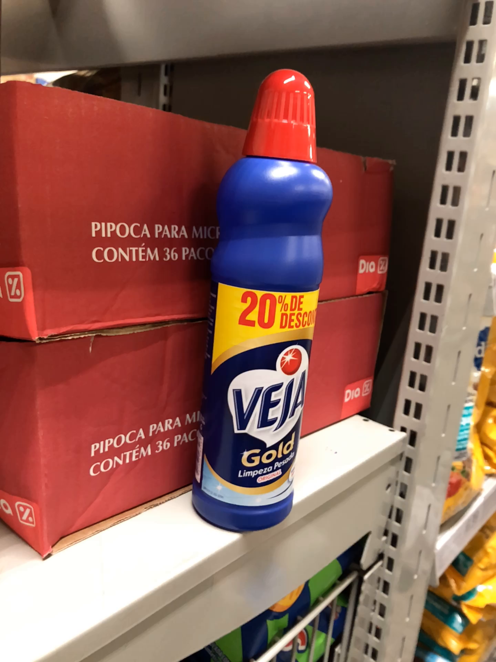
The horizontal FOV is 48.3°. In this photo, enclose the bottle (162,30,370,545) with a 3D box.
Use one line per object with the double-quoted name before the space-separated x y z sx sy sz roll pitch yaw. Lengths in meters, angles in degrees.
"bottle" 0.002 -0.018 0.309 0.070 0.249 0.070 4 16 -1
